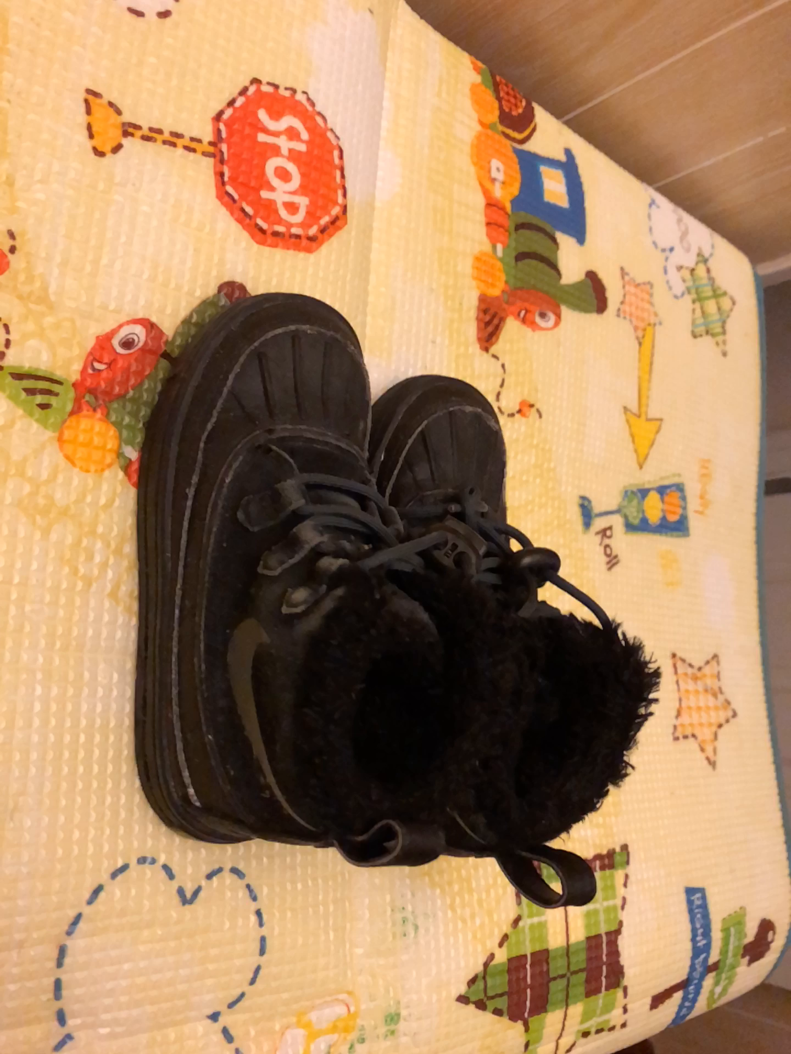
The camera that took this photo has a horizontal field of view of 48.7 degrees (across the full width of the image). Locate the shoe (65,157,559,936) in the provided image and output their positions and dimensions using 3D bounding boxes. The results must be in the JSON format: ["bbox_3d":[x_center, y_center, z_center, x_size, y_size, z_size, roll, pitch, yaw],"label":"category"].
[{"bbox_3d":[-0.027,0.011,0.302,0.090,0.119,0.210,17,74,-39],"label":"shoe"}]

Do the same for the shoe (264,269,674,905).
[{"bbox_3d":[0.034,0.027,0.364,0.090,0.109,0.220,21,71,-38],"label":"shoe"}]
